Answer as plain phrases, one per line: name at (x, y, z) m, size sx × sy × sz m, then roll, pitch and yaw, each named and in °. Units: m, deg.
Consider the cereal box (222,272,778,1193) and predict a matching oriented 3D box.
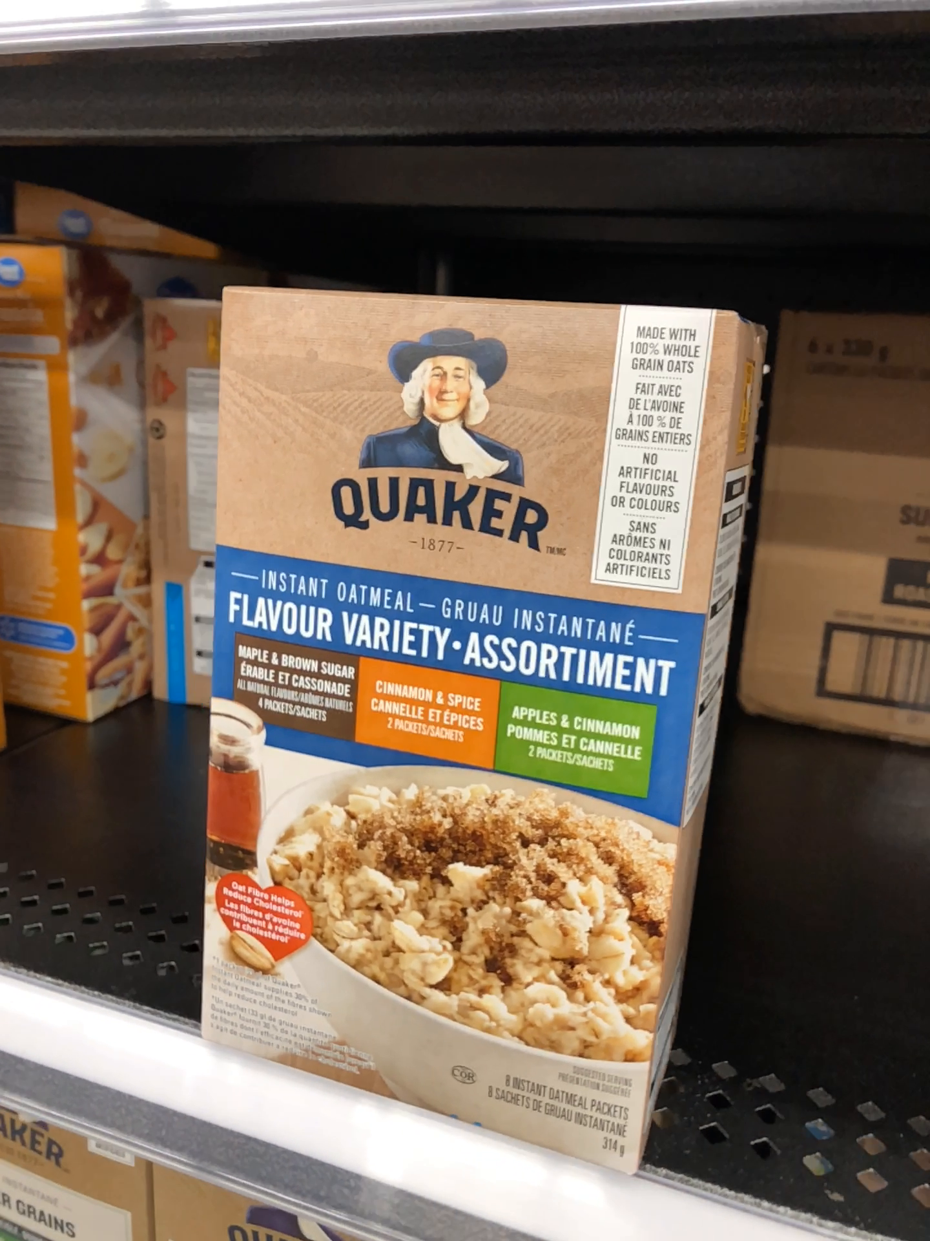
cereal box at (0.006, 0.022, 0.276) m, size 0.120 × 0.209 × 0.060 m, roll 8°, pitch 12°, yaw 18°
